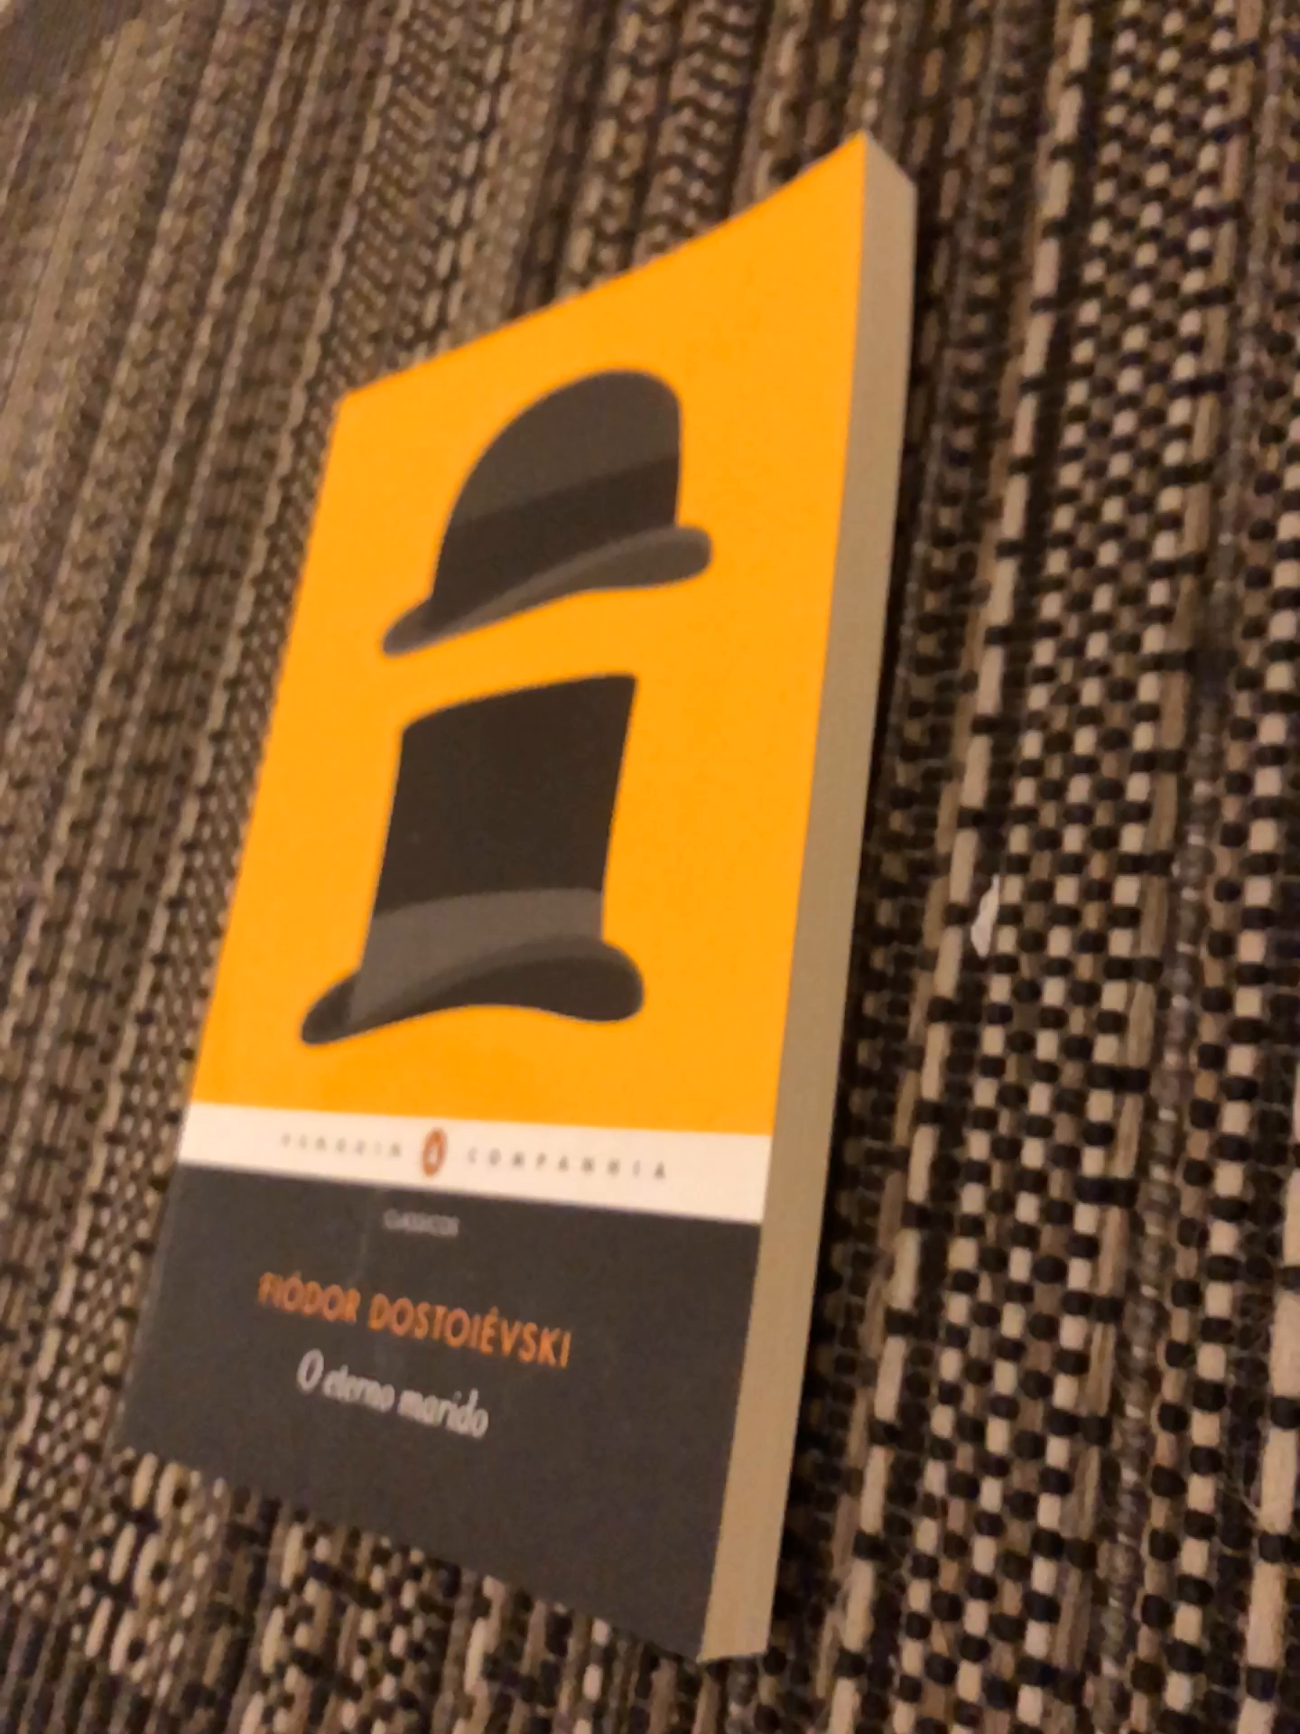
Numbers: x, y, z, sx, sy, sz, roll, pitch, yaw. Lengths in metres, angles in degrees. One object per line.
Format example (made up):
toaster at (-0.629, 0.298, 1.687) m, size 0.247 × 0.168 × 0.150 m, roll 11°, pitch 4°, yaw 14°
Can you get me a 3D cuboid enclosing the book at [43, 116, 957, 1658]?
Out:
book at (-0.026, -0.003, 0.216) m, size 0.131 × 0.020 × 0.180 m, roll -6°, pitch 69°, yaw 41°
